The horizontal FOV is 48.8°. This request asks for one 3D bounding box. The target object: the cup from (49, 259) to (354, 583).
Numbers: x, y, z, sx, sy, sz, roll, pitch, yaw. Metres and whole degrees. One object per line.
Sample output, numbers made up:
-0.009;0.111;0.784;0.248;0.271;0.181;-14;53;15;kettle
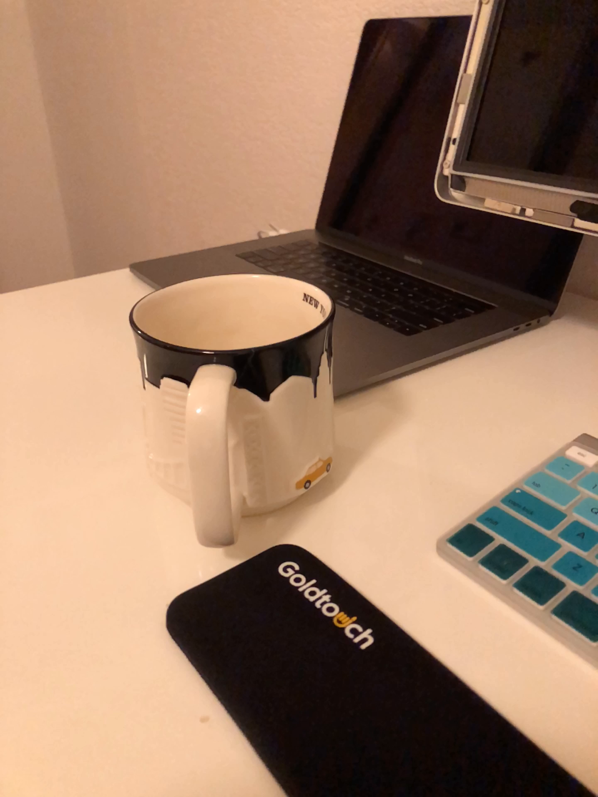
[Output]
-0.036;-0.001;0.330;0.110;0.089;0.161;-1;29;0;cup
